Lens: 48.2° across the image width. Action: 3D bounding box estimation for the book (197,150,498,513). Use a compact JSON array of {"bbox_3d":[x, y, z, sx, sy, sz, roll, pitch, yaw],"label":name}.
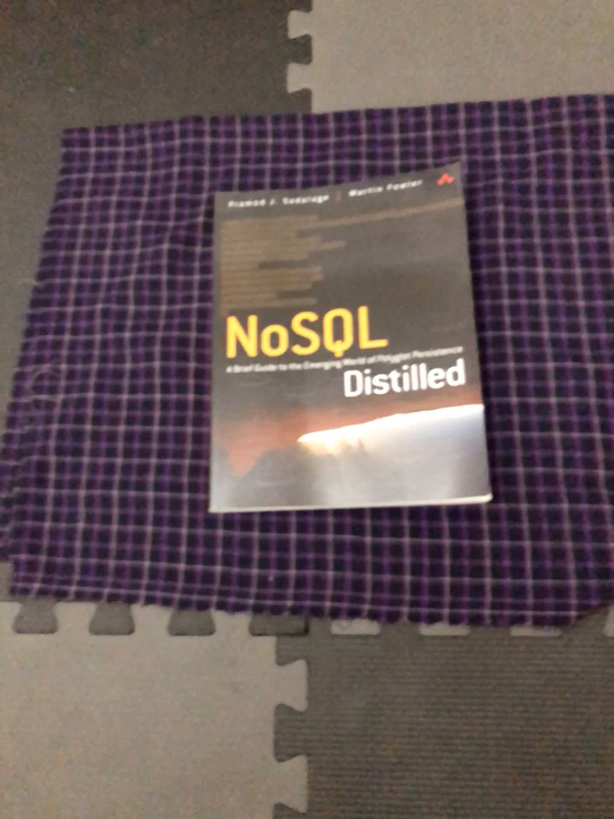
[{"bbox_3d":[0.022,-0.058,0.479,0.190,0.020,0.250,-4,72,9],"label":"book"}]
